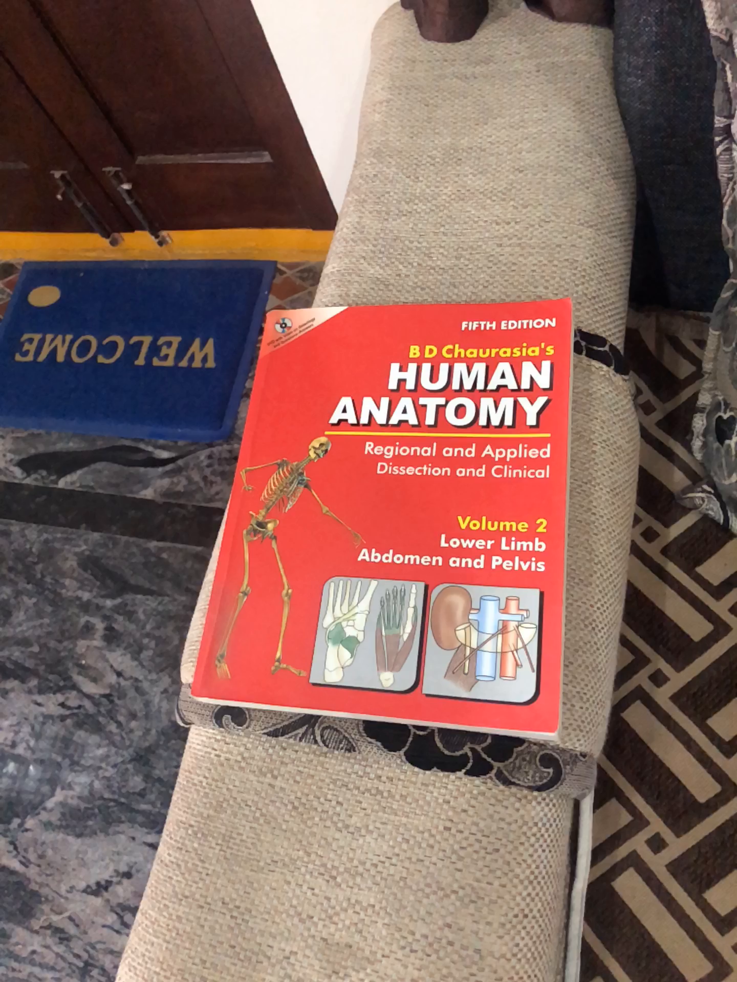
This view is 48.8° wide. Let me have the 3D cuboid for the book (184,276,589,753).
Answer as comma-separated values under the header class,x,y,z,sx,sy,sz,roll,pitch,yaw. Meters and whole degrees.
class,x,y,z,sx,sy,sz,roll,pitch,yaw
book,0.022,0.001,0.515,0.220,0.040,0.290,1,67,16
